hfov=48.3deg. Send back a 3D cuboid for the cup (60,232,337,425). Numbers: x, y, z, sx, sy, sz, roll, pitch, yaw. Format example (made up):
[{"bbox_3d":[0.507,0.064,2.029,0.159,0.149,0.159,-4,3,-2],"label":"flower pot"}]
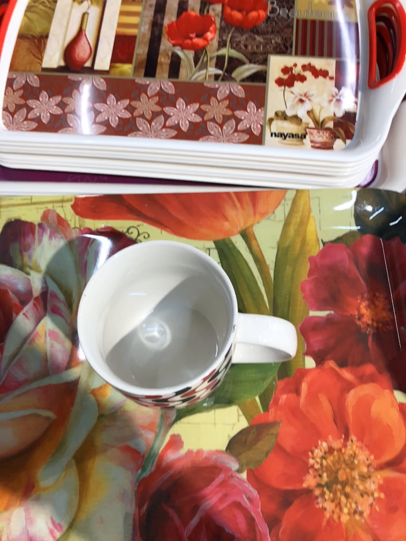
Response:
[{"bbox_3d":[-0.001,0.037,0.268,0.130,0.080,0.090,0,63,1],"label":"cup"}]
